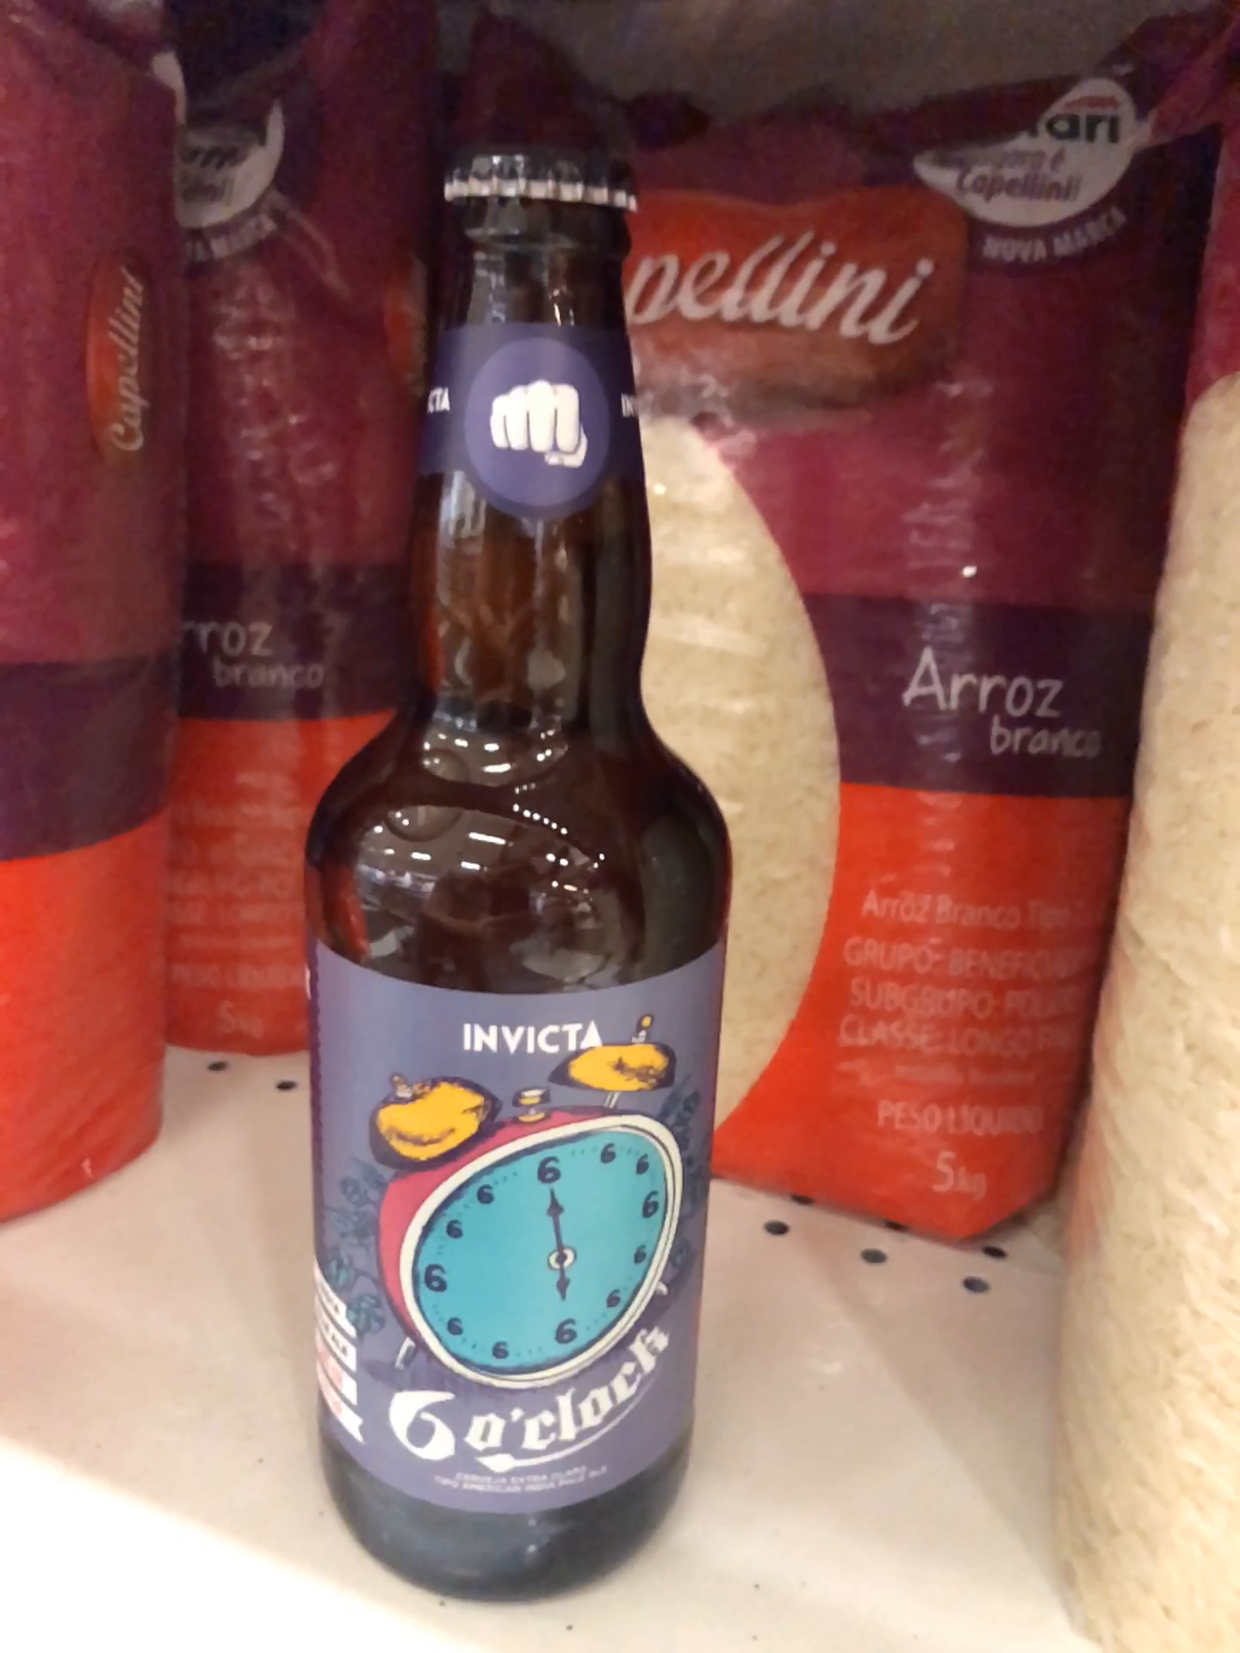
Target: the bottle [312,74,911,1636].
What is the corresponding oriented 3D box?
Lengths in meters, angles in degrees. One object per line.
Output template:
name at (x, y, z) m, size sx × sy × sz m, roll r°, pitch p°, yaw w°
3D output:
bottle at (-0.011, 0.012, 0.230) m, size 0.070 × 0.229 × 0.070 m, roll 3°, pitch 19°, yaw -1°
